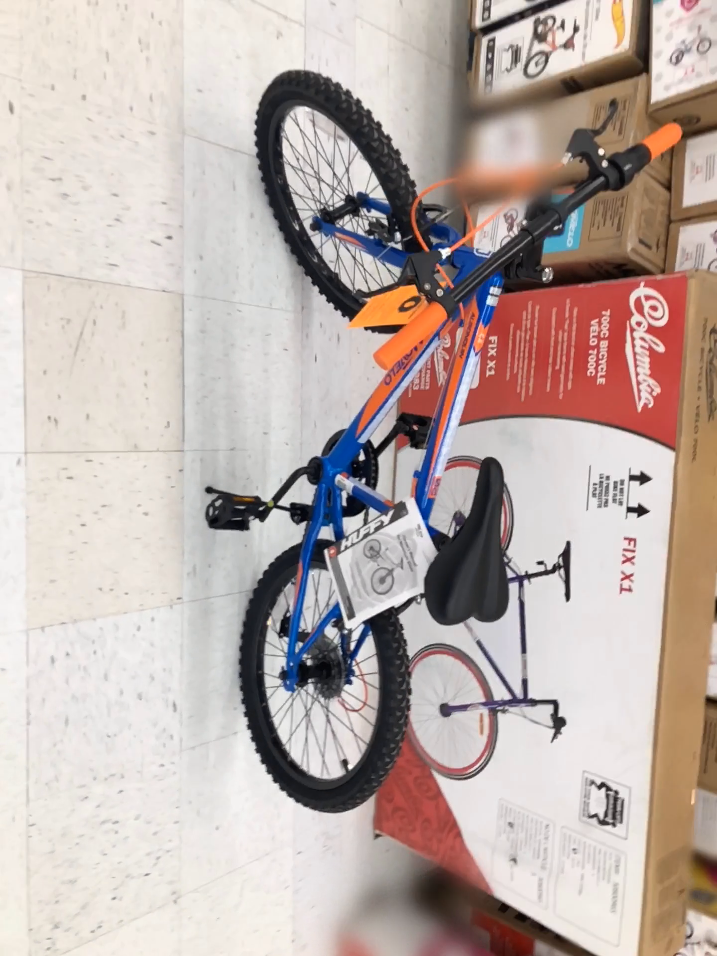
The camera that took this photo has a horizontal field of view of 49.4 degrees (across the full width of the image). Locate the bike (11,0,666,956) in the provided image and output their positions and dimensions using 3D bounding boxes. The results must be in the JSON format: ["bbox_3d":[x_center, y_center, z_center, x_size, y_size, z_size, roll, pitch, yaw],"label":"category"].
[{"bbox_3d":[-0.073,-0.059,1.353,0.587,0.870,1.314,-4,92,-45],"label":"bike"}]
